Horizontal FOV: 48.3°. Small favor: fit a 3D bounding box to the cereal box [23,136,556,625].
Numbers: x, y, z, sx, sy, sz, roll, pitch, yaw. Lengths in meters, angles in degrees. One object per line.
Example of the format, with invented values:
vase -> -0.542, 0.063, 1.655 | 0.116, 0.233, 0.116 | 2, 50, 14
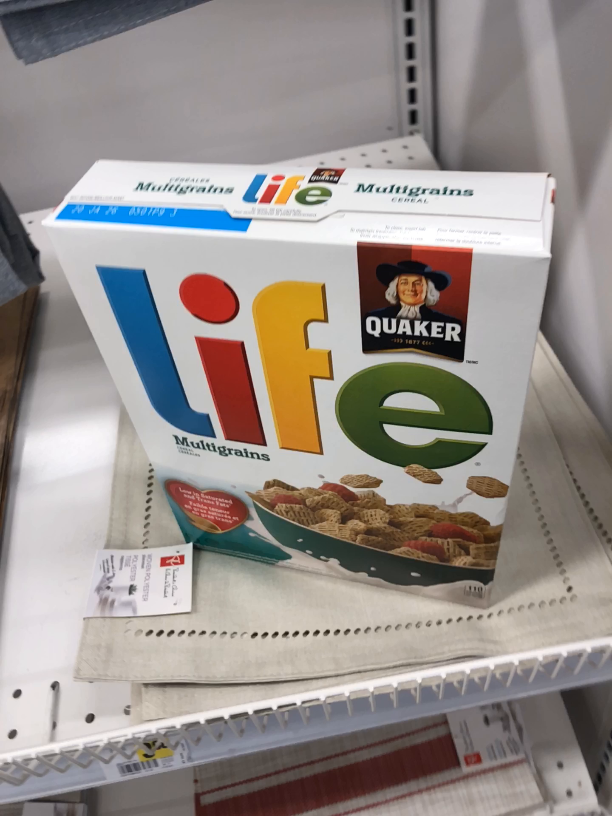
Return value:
cereal box -> 0.003, 0.004, 0.378 | 0.210, 0.279, 0.060 | 9, 48, 15
